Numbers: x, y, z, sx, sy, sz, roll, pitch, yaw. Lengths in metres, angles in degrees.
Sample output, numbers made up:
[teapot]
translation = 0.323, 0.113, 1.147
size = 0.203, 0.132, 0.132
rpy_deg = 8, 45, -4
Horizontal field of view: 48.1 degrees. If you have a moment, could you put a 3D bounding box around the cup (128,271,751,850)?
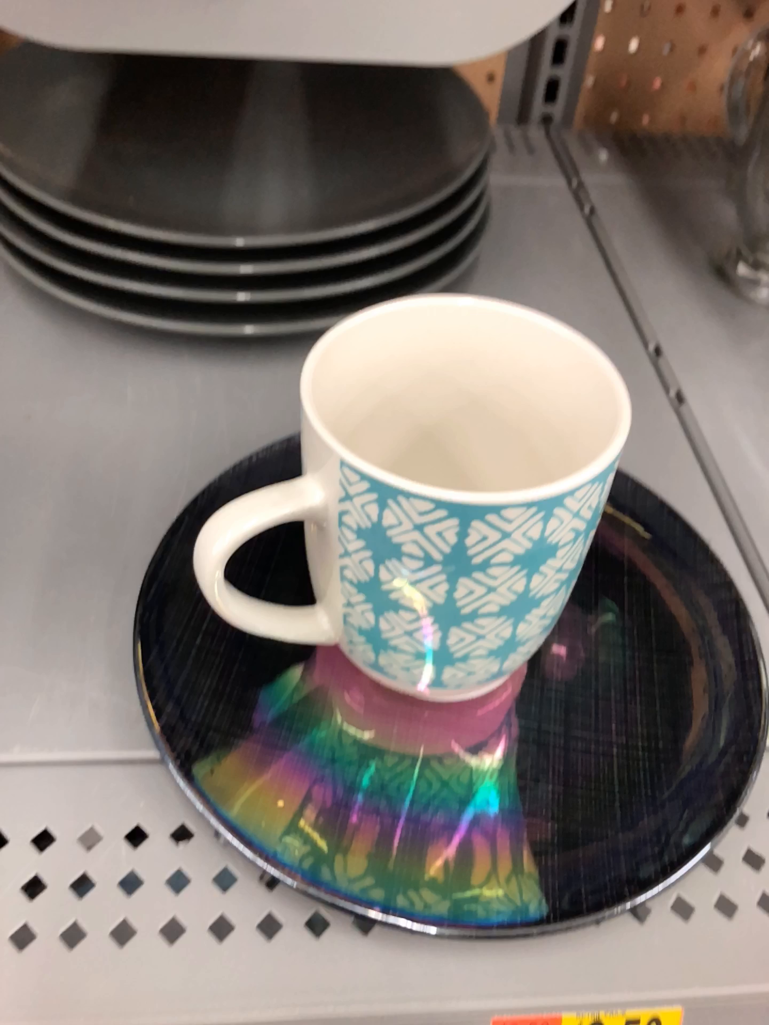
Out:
[cup]
translation = 0.008, 0.009, 0.242
size = 0.122, 0.098, 0.089
rpy_deg = -17, 50, -21
